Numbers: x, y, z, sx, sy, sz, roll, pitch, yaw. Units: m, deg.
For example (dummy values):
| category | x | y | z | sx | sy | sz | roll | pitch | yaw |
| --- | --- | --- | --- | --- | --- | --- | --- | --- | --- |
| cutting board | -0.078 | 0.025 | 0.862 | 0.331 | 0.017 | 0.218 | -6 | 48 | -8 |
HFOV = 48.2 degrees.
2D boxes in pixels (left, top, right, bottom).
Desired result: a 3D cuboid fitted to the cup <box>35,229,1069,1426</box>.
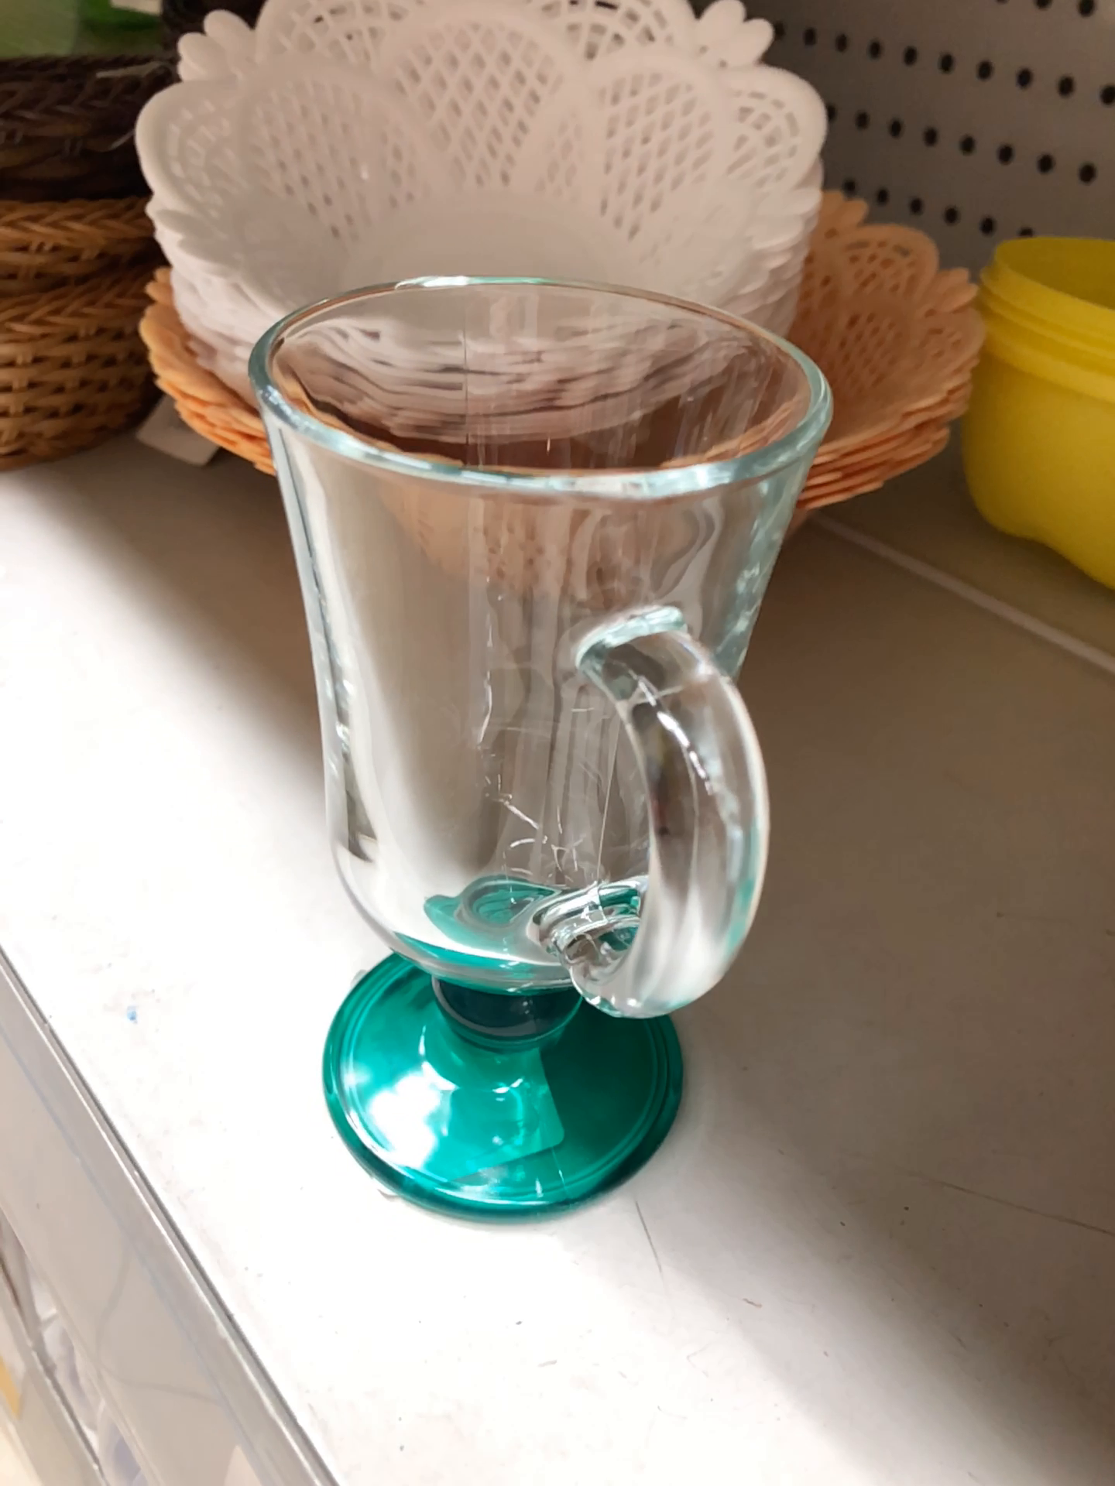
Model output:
| category | x | y | z | sx | sy | sz | roll | pitch | yaw |
| --- | --- | --- | --- | --- | --- | --- | --- | --- | --- |
| cup | -0.011 | 0.002 | 0.185 | 0.085 | 0.118 | 0.108 | -16 | 38 | -24 |
